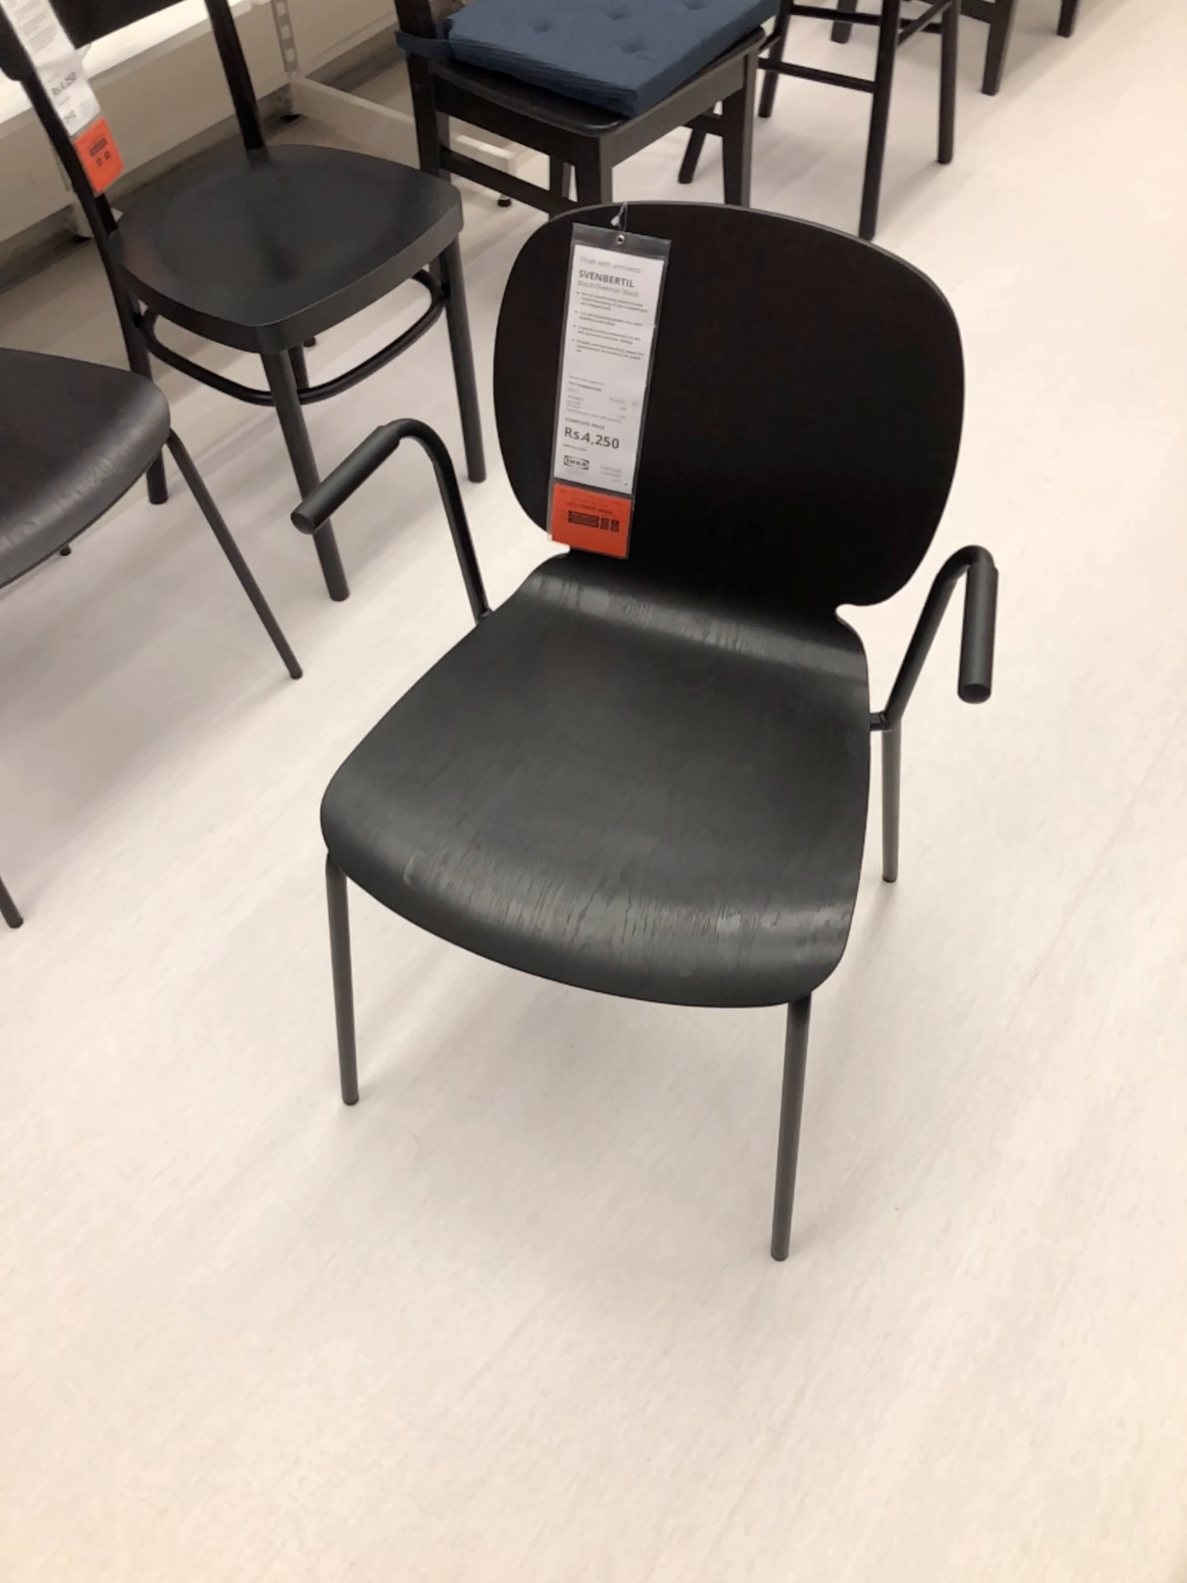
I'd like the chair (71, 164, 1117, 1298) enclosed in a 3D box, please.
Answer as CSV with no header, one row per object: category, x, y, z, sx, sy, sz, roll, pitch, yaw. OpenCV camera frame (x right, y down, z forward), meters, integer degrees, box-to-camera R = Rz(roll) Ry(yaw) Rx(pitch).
chair,0.048,-0.038,1.156,0.531,0.686,0.583,17,54,15
